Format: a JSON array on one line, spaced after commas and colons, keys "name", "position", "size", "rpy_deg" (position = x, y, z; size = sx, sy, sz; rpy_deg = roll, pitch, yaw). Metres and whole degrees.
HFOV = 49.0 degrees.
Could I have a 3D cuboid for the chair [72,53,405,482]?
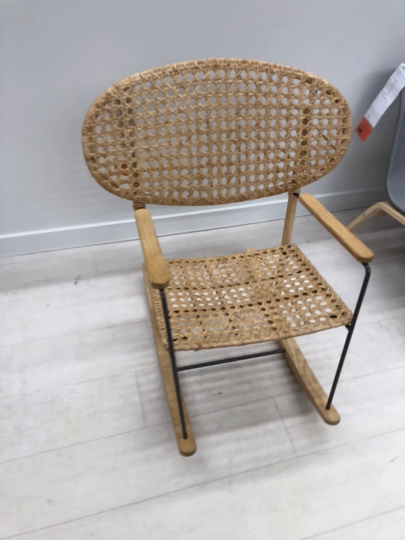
[{"name": "chair", "position": [0.116, -0.043, 1.291], "size": [0.830, 0.787, 0.853], "rpy_deg": [-7, 48, -11]}]
